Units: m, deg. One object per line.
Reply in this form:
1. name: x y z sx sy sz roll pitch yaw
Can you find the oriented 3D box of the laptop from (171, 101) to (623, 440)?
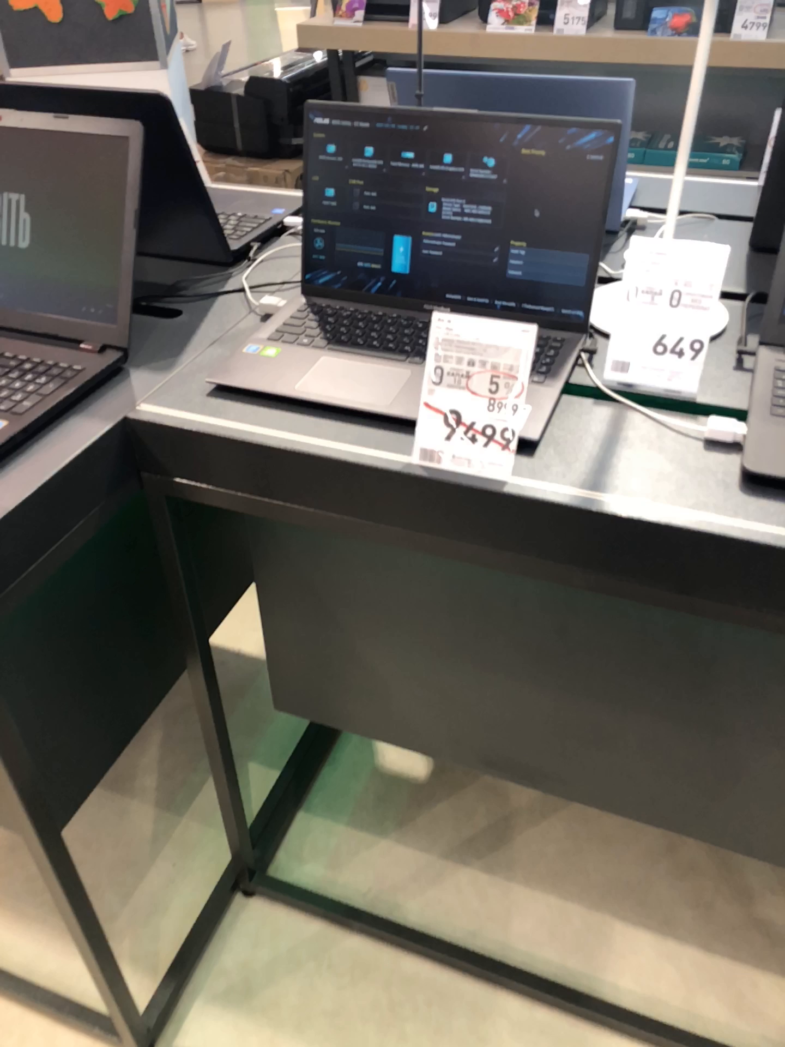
1. laptop: 0.017 -0.278 0.874 0.355 0.200 0.288 12 41 20
